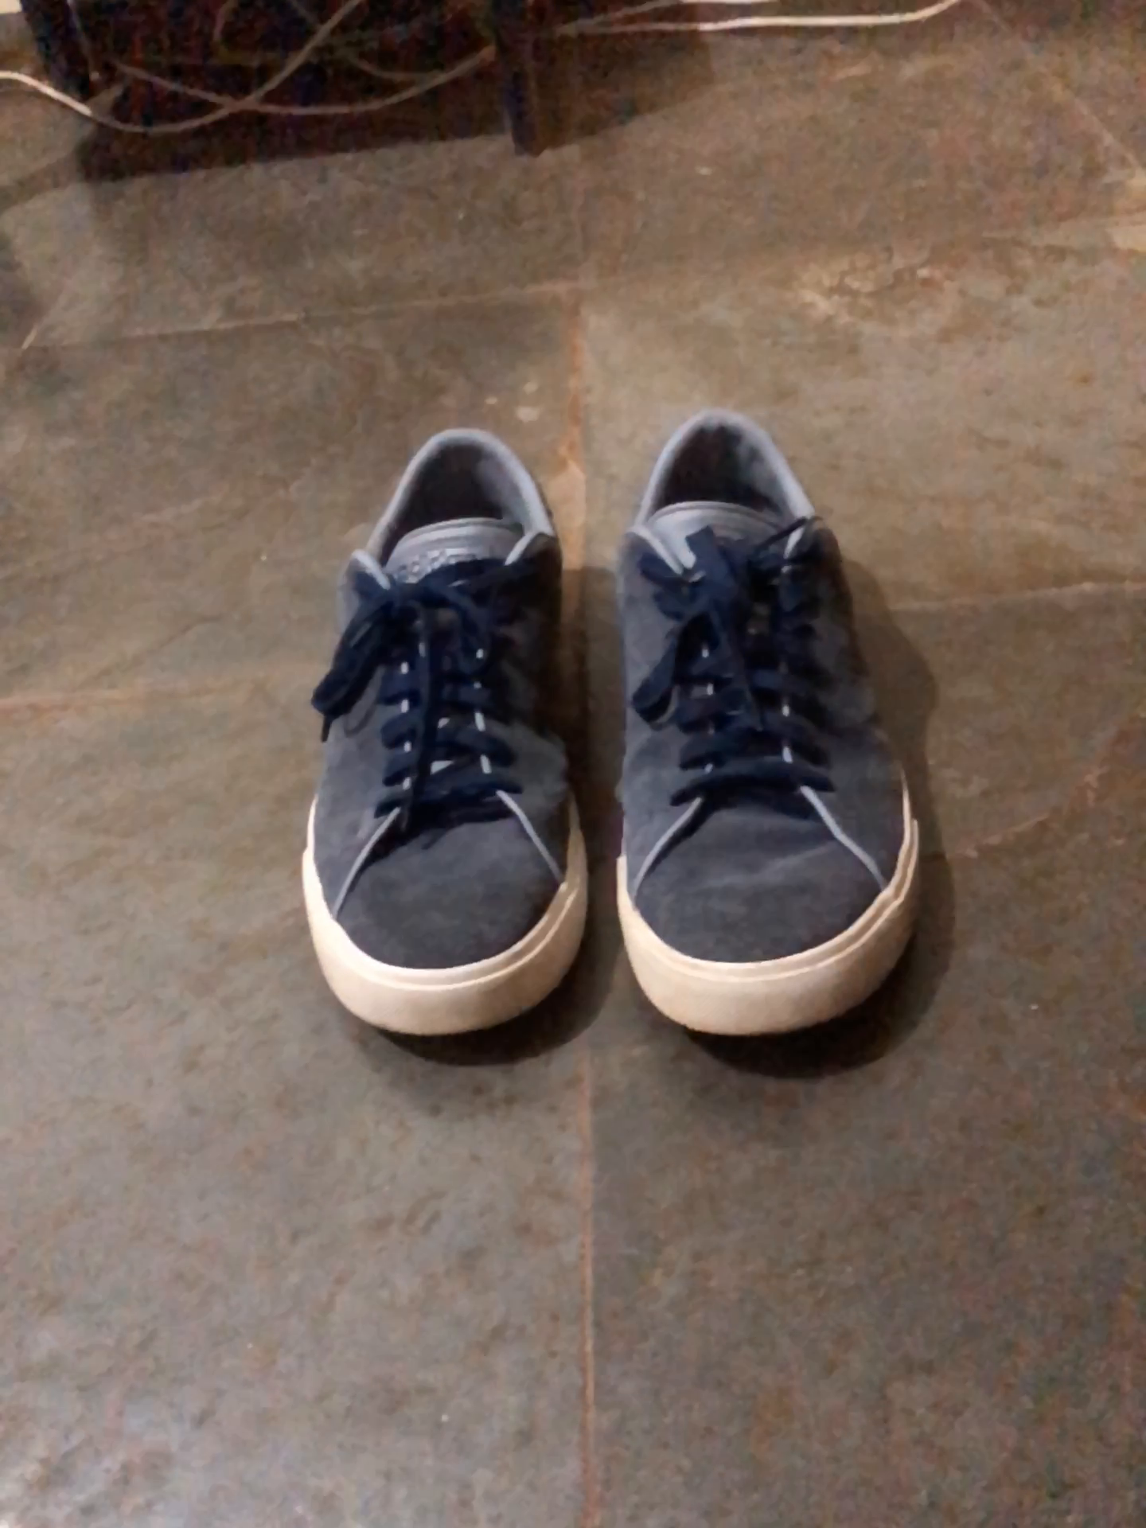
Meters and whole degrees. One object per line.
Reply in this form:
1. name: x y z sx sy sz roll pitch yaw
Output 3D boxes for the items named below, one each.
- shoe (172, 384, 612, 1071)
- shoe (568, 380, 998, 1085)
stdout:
1. shoe: -0.049 -0.032 0.459 0.110 0.079 0.272 -5 43 4
2. shoe: 0.062 -0.031 0.456 0.110 0.079 0.282 -4 43 6
